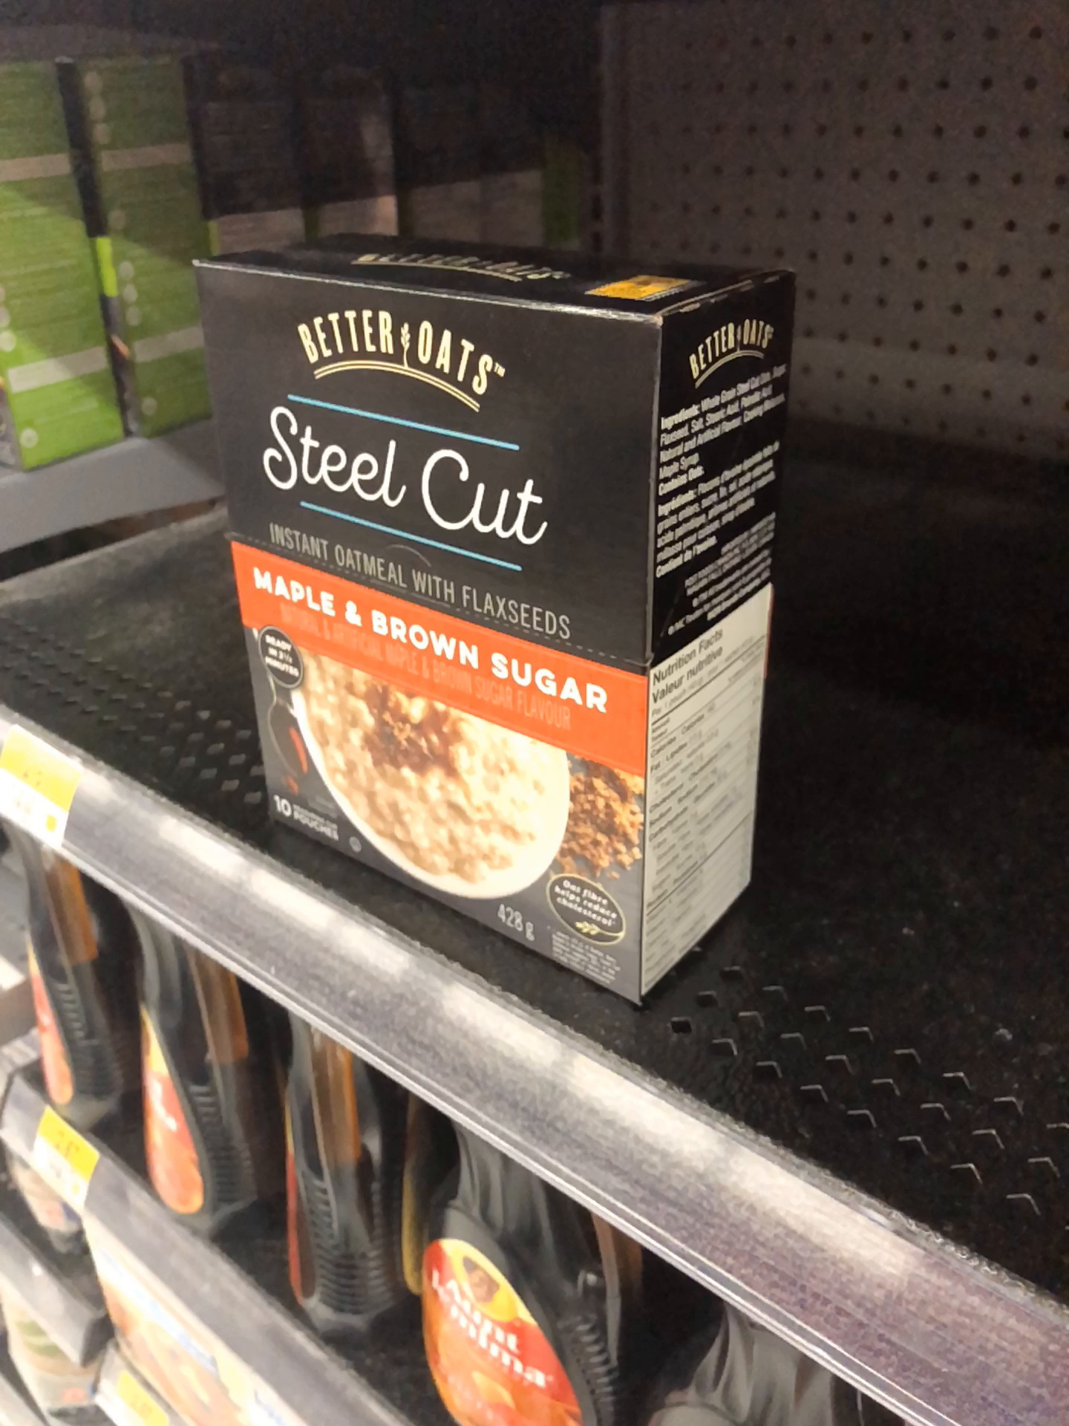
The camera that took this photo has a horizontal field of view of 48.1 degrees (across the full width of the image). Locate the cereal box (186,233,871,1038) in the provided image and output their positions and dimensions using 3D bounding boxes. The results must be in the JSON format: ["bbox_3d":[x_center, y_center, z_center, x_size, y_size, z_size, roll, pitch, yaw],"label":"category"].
[{"bbox_3d":[-0.005,-0.031,0.337,0.160,0.179,0.070,20,35,34],"label":"cereal box"}]
